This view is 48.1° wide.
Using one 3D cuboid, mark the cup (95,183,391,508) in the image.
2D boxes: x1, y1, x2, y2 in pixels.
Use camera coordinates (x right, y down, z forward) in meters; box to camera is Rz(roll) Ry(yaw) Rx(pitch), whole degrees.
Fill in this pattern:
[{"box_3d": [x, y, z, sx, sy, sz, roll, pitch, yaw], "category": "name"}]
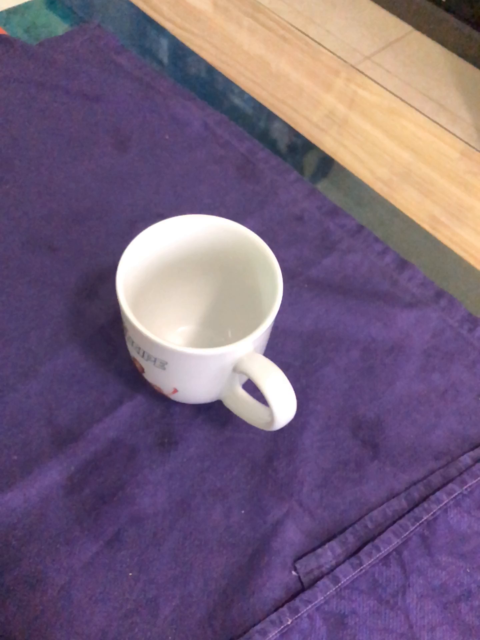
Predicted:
[{"box_3d": [-0.005, 0.014, 0.281, 0.080, 0.090, 0.120, -29, 67, -21], "category": "cup"}]
